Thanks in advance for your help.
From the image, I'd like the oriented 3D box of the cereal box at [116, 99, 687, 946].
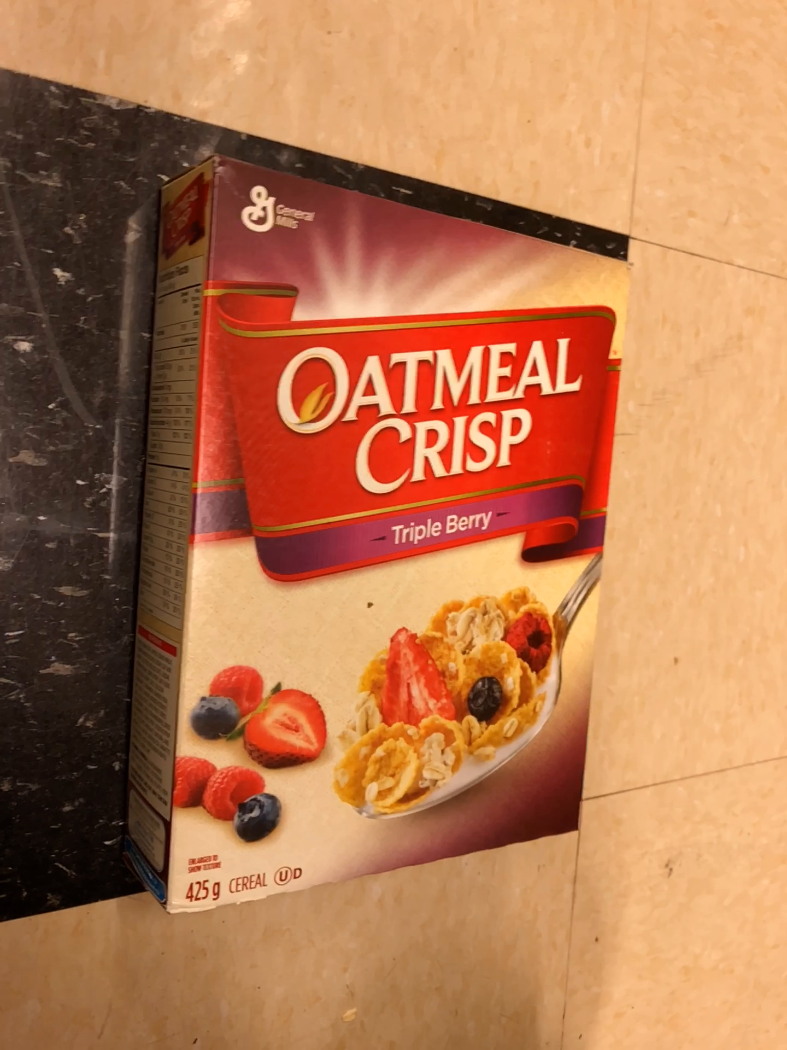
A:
[{"bbox_3d":[0.008,0.002,0.338,0.200,0.070,0.250,2,94,-32],"label":"cereal box"}]
